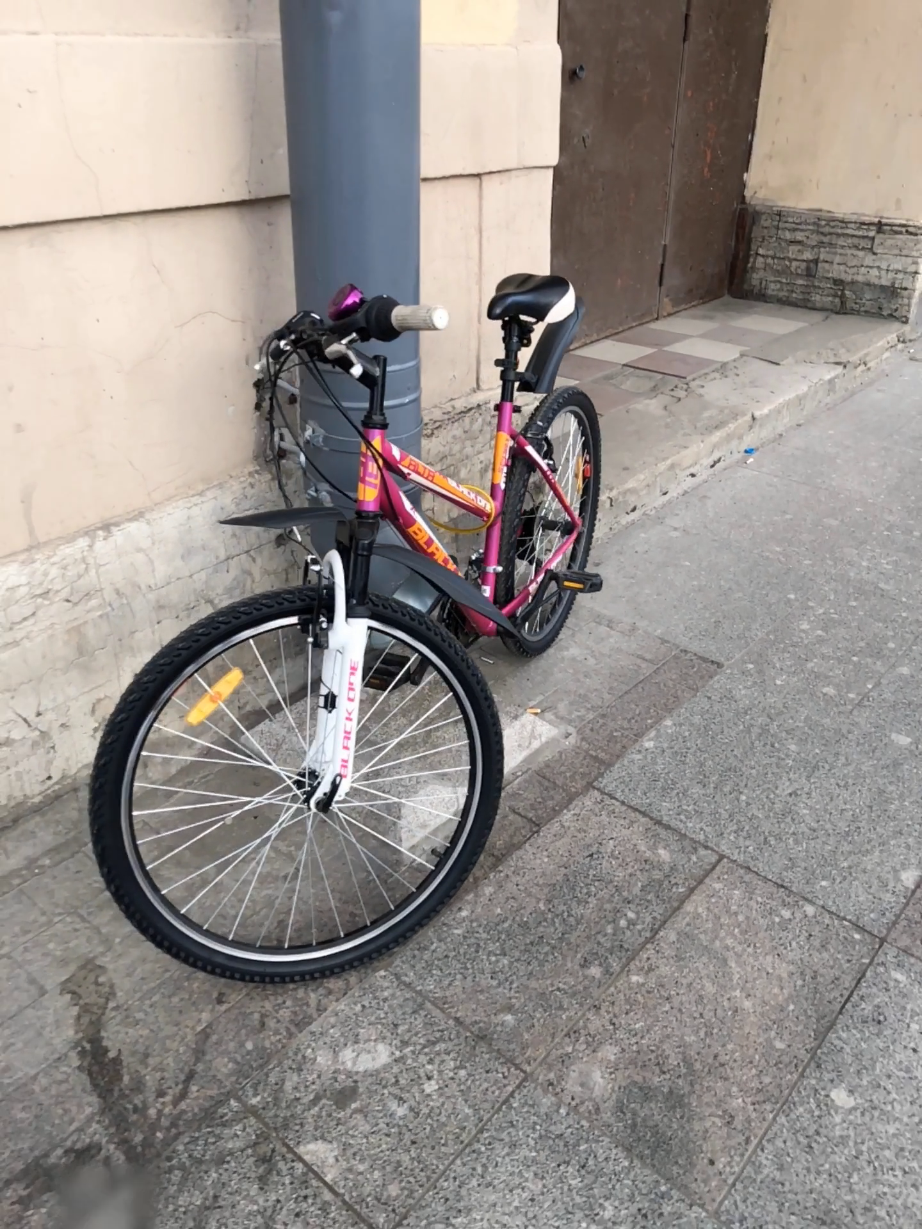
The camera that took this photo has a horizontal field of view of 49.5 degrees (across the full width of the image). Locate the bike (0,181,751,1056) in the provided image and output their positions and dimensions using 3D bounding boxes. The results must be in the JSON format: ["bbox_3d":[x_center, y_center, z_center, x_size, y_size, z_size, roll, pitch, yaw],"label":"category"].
[{"bbox_3d":[-0.108,-0.188,1.921,0.623,0.974,1.580,18,35,28],"label":"bike"}]
